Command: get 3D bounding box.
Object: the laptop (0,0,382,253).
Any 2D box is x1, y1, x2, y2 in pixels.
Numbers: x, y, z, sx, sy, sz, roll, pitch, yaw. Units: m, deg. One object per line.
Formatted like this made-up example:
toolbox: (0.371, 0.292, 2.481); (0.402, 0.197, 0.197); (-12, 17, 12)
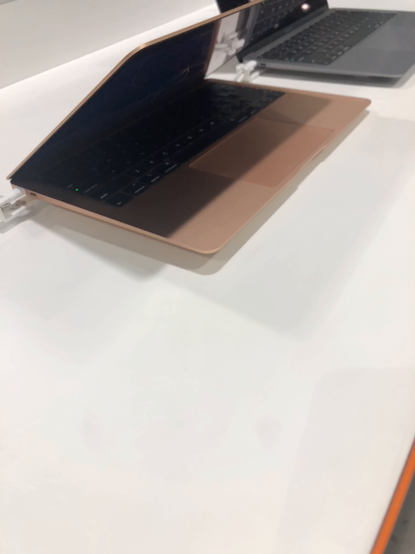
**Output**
laptop: (-0.004, -0.170, 0.394); (0.199, 0.106, 0.296); (20, 46, 28)
